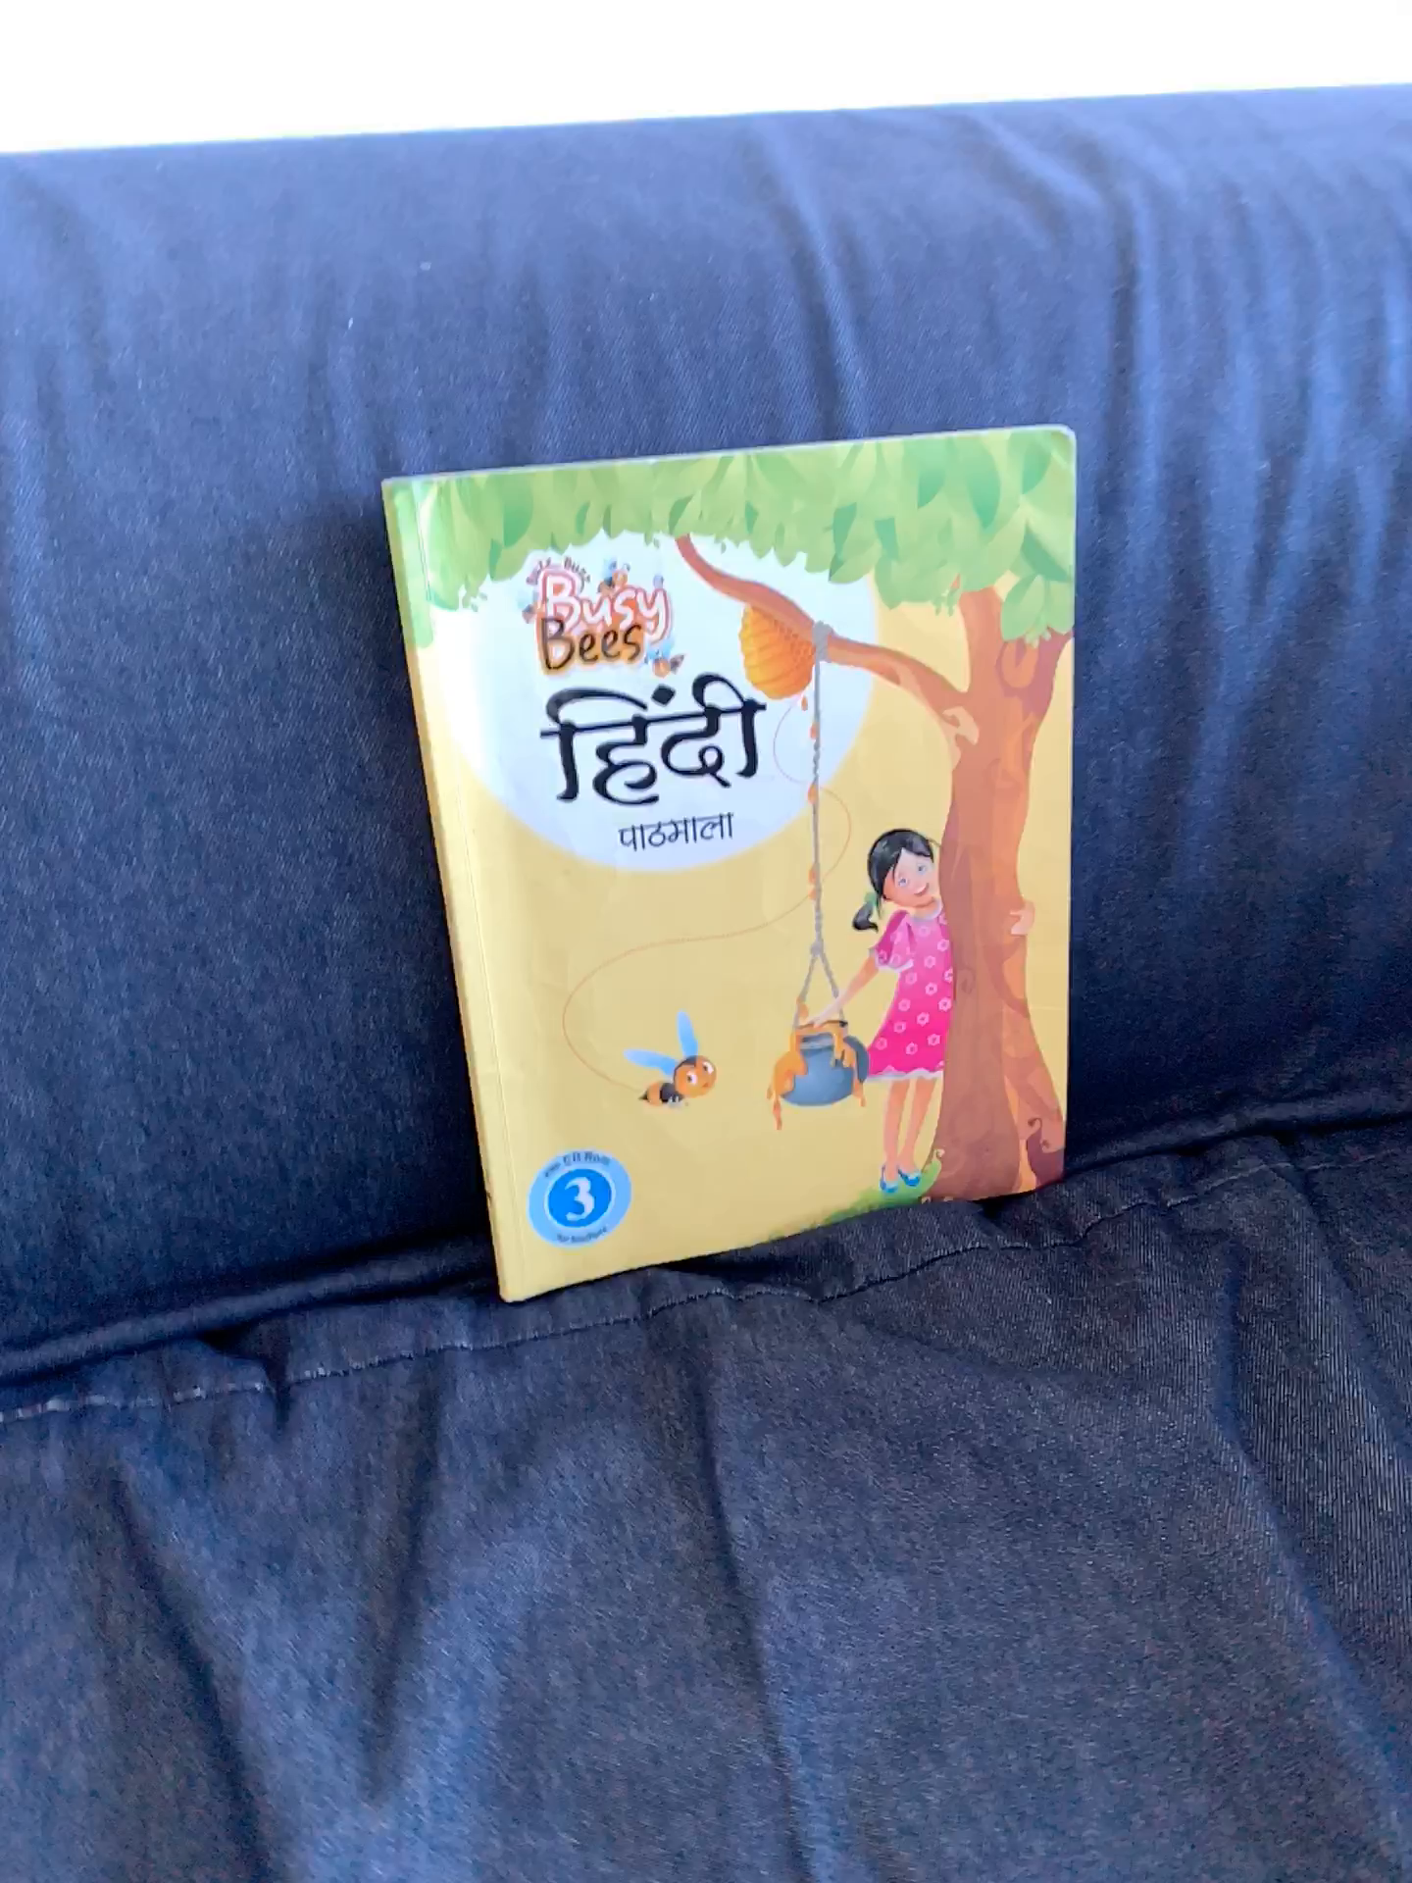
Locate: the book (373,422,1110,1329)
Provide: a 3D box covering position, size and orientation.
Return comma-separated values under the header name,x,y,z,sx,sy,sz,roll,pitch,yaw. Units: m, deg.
name,x,y,z,sx,sy,sz,roll,pitch,yaw
book,0.024,-0.019,0.499,0.230,0.284,0.029,-8,19,-11
